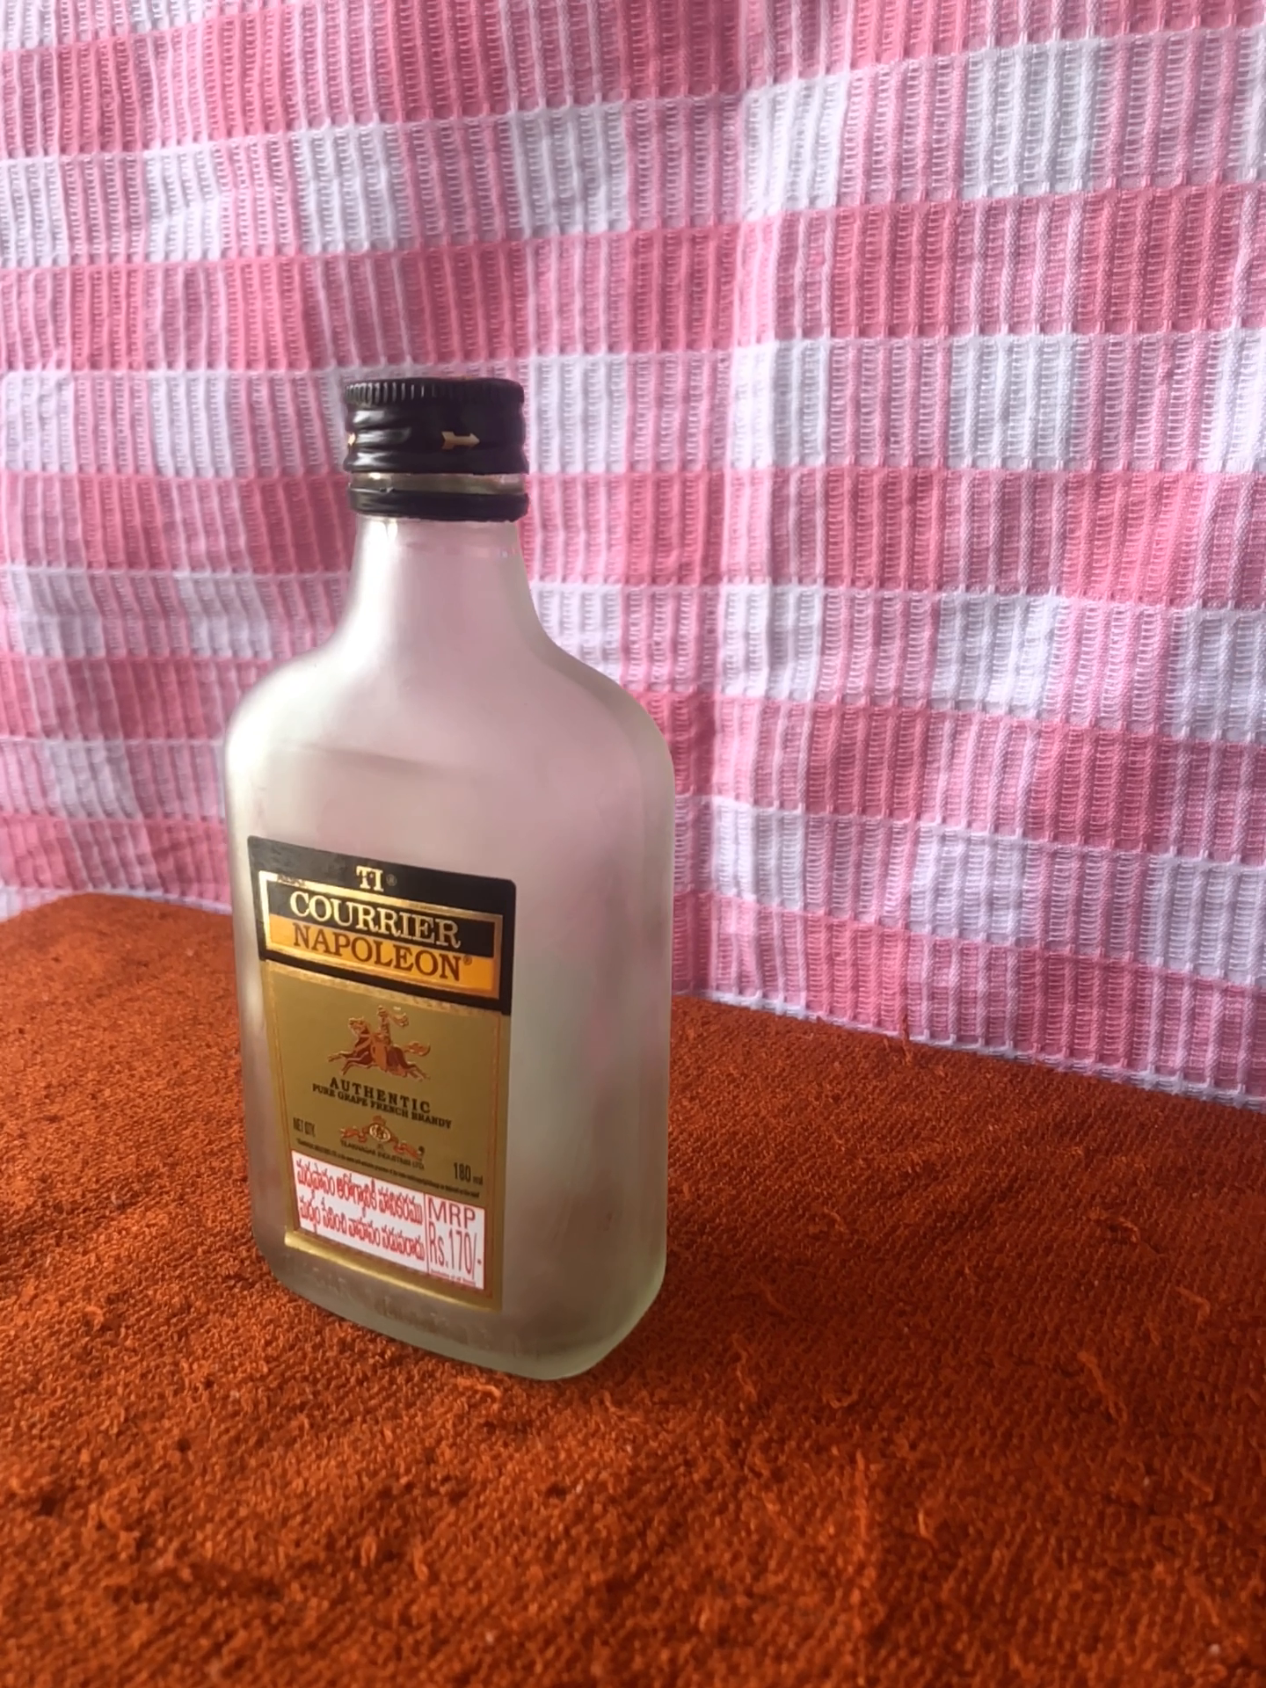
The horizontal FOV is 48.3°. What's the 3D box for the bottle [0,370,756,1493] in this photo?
[{"bbox_3d":[-0.033,0.005,0.192,0.080,0.129,0.050,10,20,26],"label":"bottle"}]
